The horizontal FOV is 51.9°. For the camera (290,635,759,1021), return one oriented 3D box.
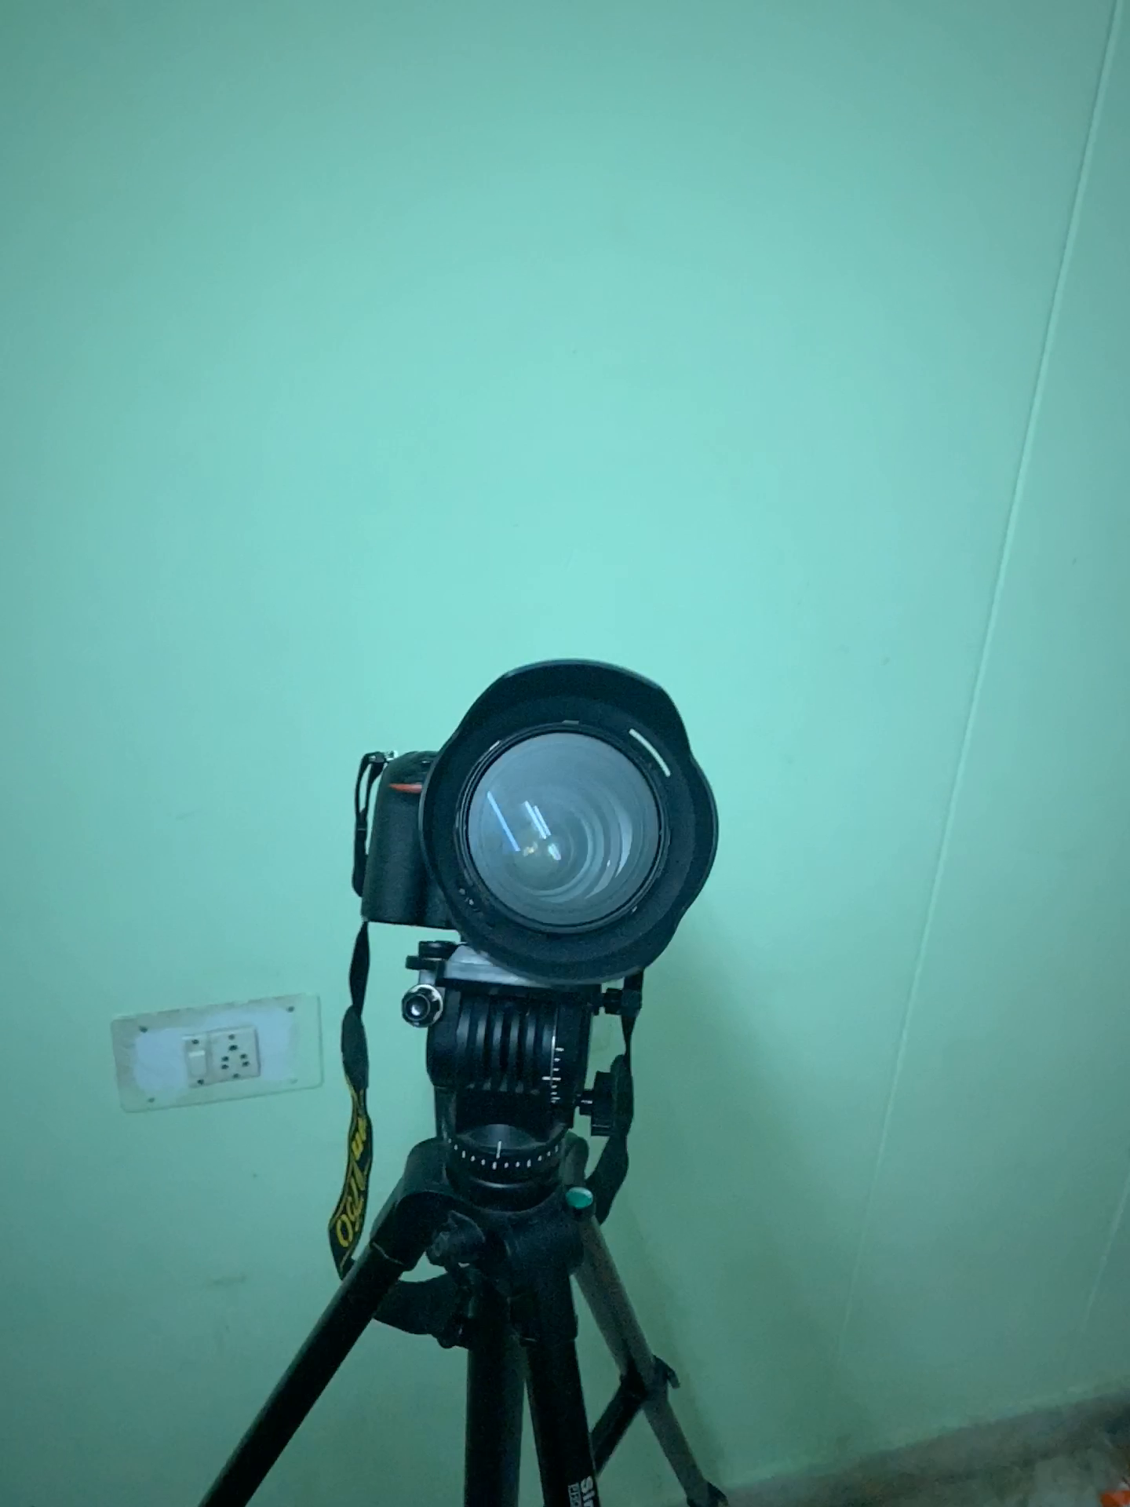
[{"bbox_3d":[-0.019,0.035,0.522,0.151,0.120,0.248,5,-5,-3],"label":"camera"}]
